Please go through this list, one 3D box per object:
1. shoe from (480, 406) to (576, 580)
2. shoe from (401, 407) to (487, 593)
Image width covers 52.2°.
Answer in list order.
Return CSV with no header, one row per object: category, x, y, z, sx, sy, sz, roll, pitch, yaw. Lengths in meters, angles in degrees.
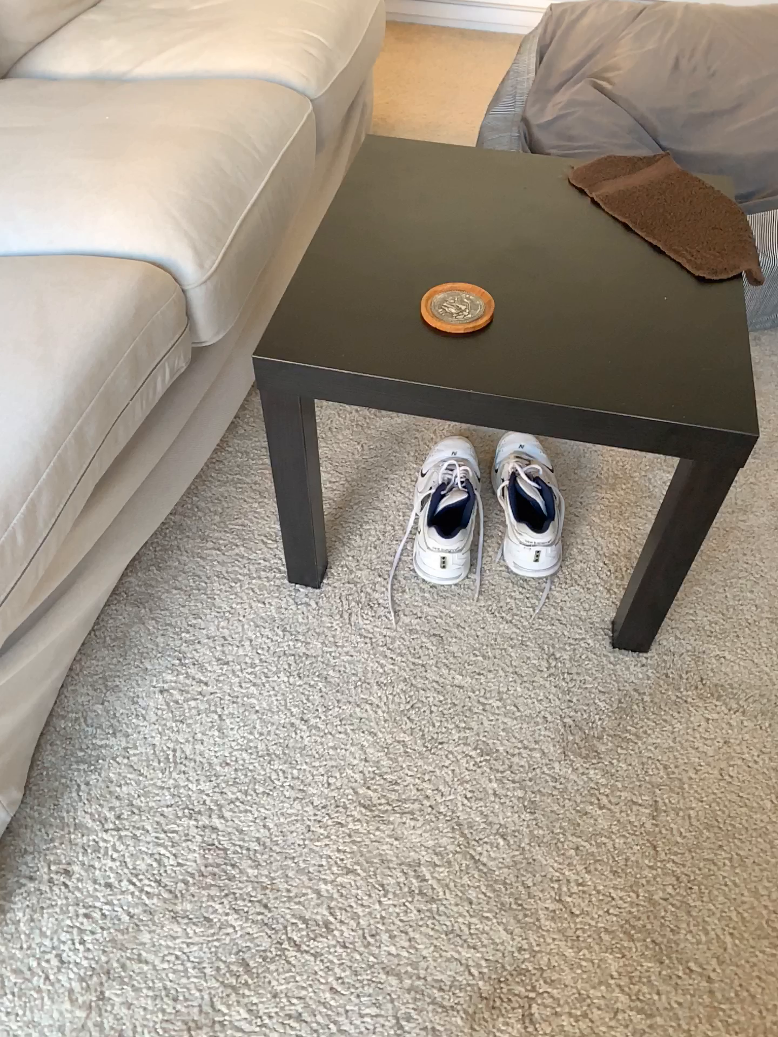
shoe,0.220,-0.048,1.302,0.110,0.100,0.291,1,50,-1
shoe,0.090,-0.036,1.254,0.110,0.100,0.291,5,50,3
